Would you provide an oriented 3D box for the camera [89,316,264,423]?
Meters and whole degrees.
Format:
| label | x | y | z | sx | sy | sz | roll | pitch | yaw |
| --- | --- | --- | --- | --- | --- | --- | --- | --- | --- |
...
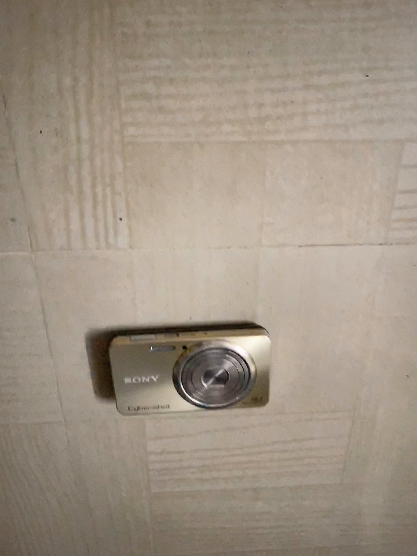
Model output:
| label | x | y | z | sx | sy | sz | roll | pitch | yaw |
| --- | --- | --- | --- | --- | --- | --- | --- | --- | --- |
| camera | -0.017 | 0.055 | 0.259 | 0.097 | 0.019 | 0.057 | -3 | 114 | -3 |
